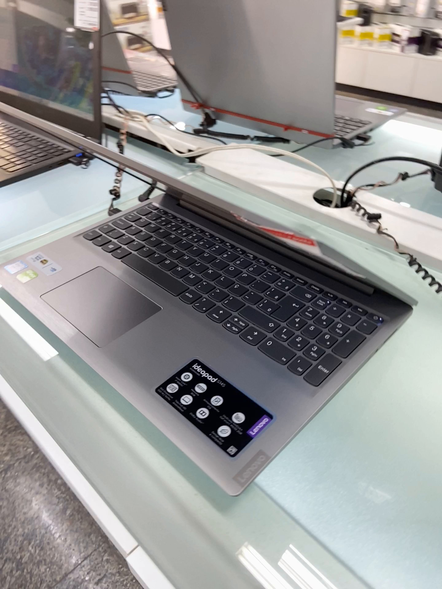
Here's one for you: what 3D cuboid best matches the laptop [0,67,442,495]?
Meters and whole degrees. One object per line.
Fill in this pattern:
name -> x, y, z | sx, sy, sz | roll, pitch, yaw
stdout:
laptop -> -0.041, -0.068, 0.406 | 0.362, 0.160, 0.246 | 30, 48, 34
